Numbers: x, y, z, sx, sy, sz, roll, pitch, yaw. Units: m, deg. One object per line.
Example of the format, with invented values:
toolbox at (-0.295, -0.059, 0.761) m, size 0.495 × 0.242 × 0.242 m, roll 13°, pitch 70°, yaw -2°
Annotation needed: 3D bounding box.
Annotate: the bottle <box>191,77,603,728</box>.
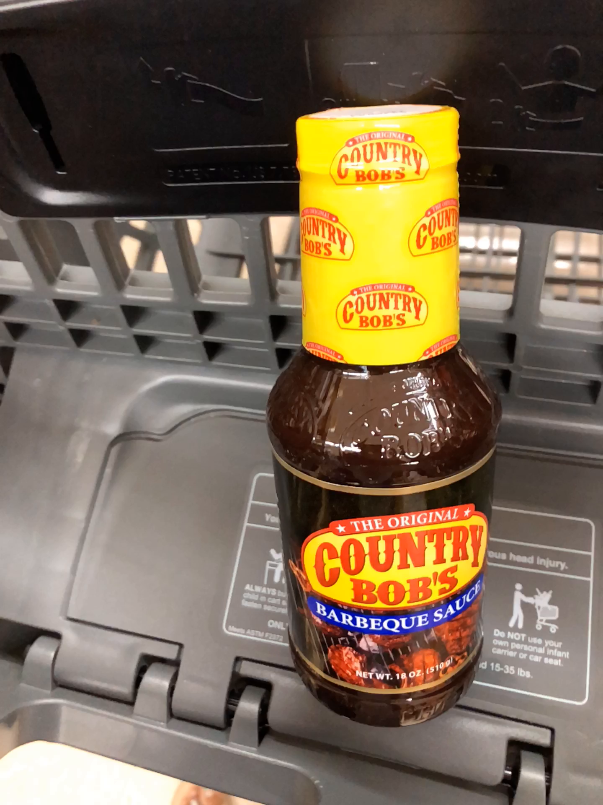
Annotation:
bottle at (0.021, 0.001, 0.199) m, size 0.080 × 0.080 × 0.170 m, roll 0°, pitch 115°, yaw 2°
